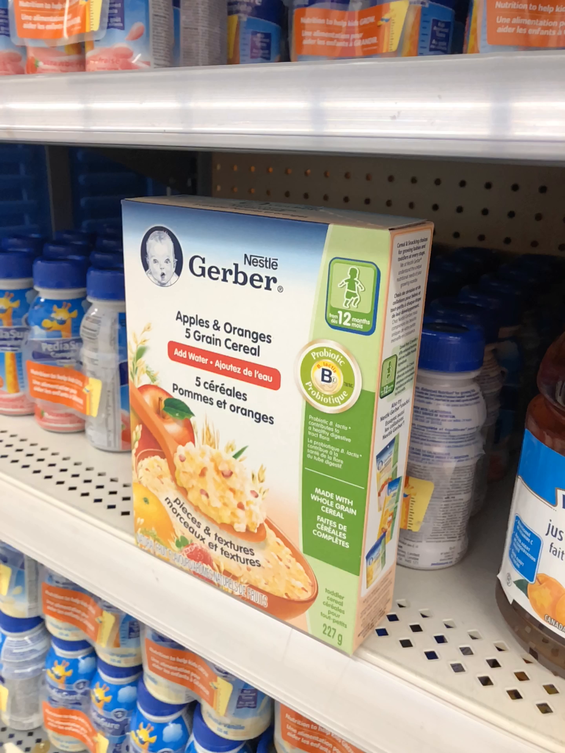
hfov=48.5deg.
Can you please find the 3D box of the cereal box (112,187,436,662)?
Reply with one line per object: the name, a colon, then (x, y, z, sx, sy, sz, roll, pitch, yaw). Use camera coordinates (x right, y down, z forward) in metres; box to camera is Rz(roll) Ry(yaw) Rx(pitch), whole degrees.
cereal box: (-0.013, 0.016, 0.312, 0.140, 0.199, 0.050, 15, 23, 30)
